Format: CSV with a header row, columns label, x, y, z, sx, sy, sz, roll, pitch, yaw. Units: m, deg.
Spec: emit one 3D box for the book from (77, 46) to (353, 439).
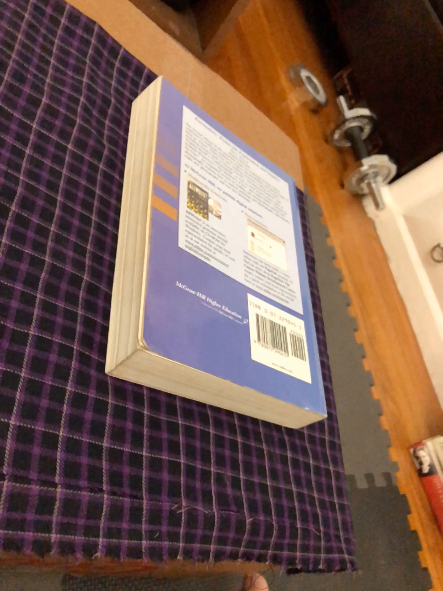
label,x,y,z,sx,sy,sz,roll,pitch,yaw
book,0.002,-0.038,0.352,0.180,0.040,0.241,25,48,-36
